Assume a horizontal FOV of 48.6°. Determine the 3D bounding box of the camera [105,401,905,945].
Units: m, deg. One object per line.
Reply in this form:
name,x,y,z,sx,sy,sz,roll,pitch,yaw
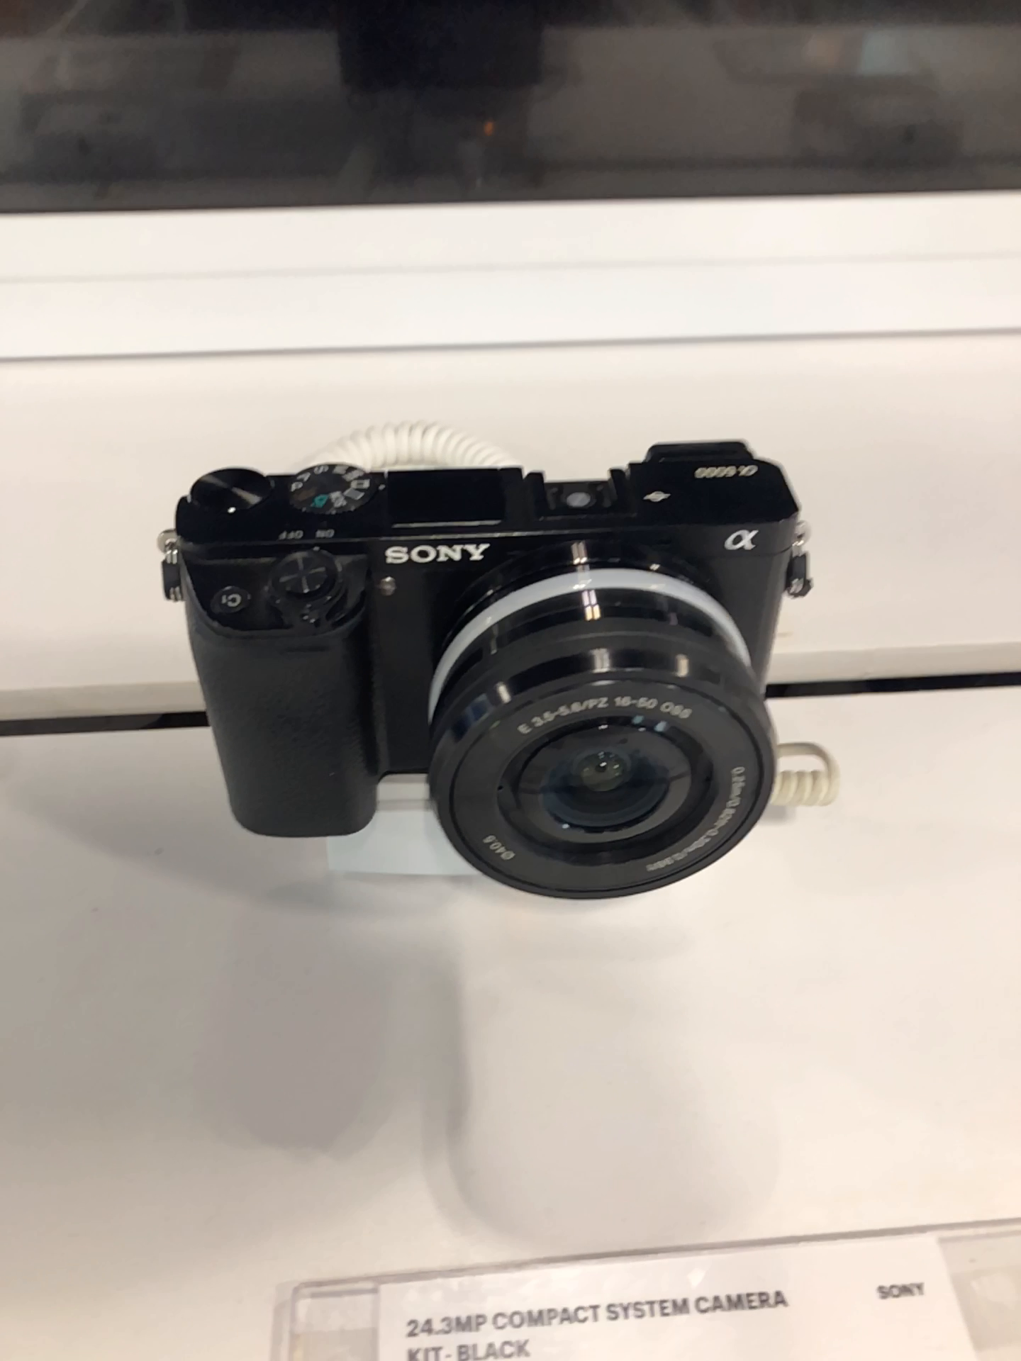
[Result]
camera,-0.002,-0.003,0.218,0.120,0.070,0.070,-3,42,-4
